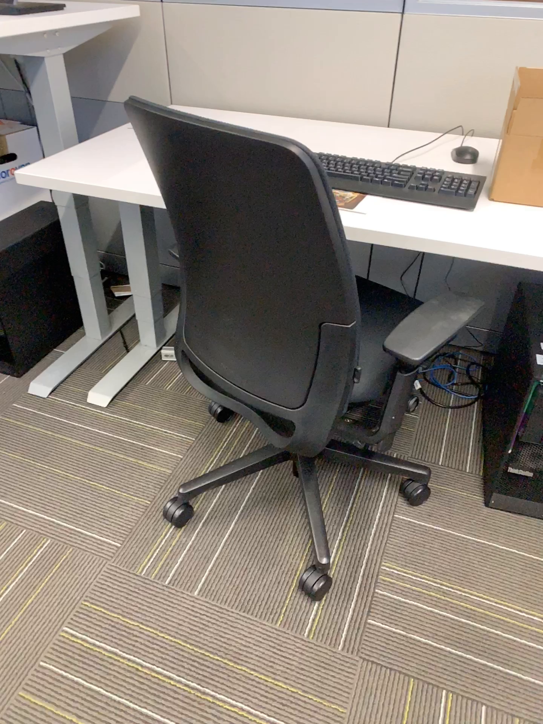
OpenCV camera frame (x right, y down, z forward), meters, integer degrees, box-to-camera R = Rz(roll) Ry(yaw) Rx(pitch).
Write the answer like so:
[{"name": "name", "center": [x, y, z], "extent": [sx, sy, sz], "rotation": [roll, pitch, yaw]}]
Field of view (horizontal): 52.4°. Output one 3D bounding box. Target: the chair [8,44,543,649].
[{"name": "chair", "center": [0.081, -0.108, 1.234], "extent": [0.702, 0.934, 0.752], "rotation": [22, 41, 26]}]
